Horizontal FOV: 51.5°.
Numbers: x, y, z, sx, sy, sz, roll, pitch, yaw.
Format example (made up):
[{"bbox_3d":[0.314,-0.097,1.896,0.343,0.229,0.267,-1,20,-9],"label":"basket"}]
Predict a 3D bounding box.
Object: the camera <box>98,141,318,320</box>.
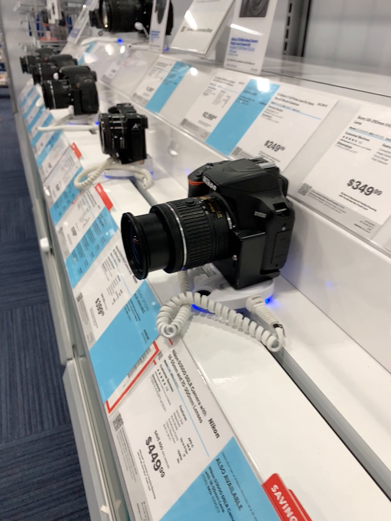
[{"bbox_3d":[0.004,-0.041,0.382,0.150,0.099,0.131,-13,33,-24],"label":"camera"}]
